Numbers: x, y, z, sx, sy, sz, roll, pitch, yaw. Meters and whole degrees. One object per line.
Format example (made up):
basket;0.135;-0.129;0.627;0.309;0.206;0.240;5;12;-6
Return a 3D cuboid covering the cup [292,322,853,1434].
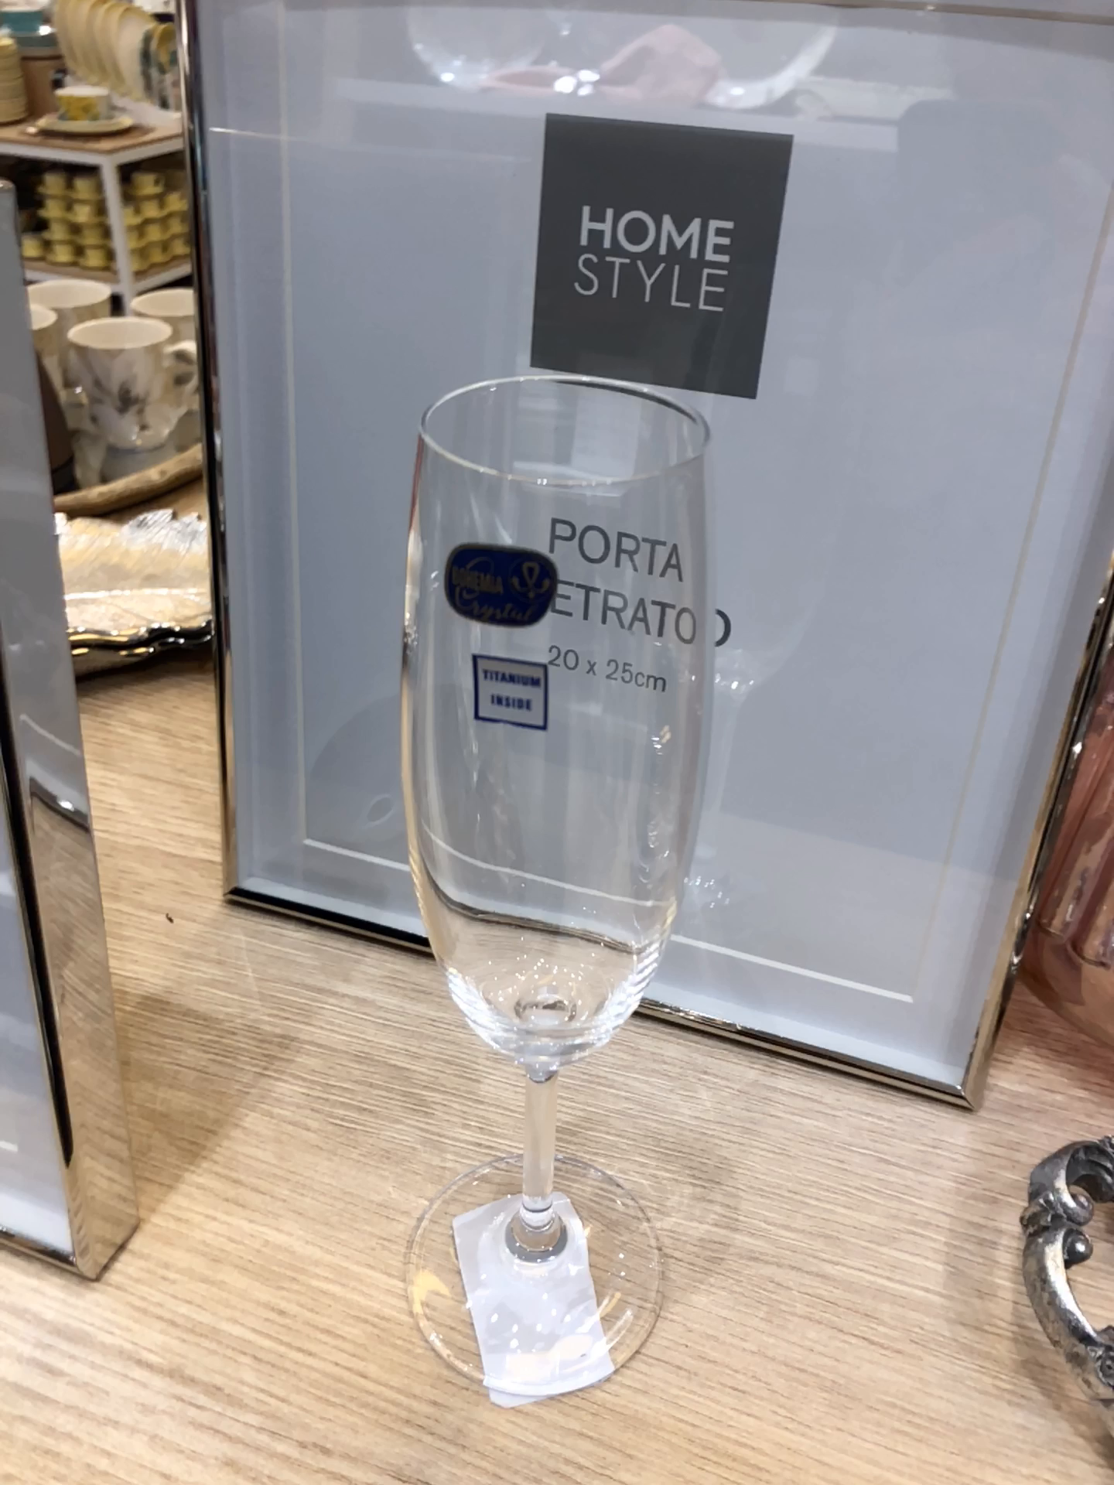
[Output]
cup;0.004;0.039;0.251;0.070;0.218;0.070;2;34;-1
